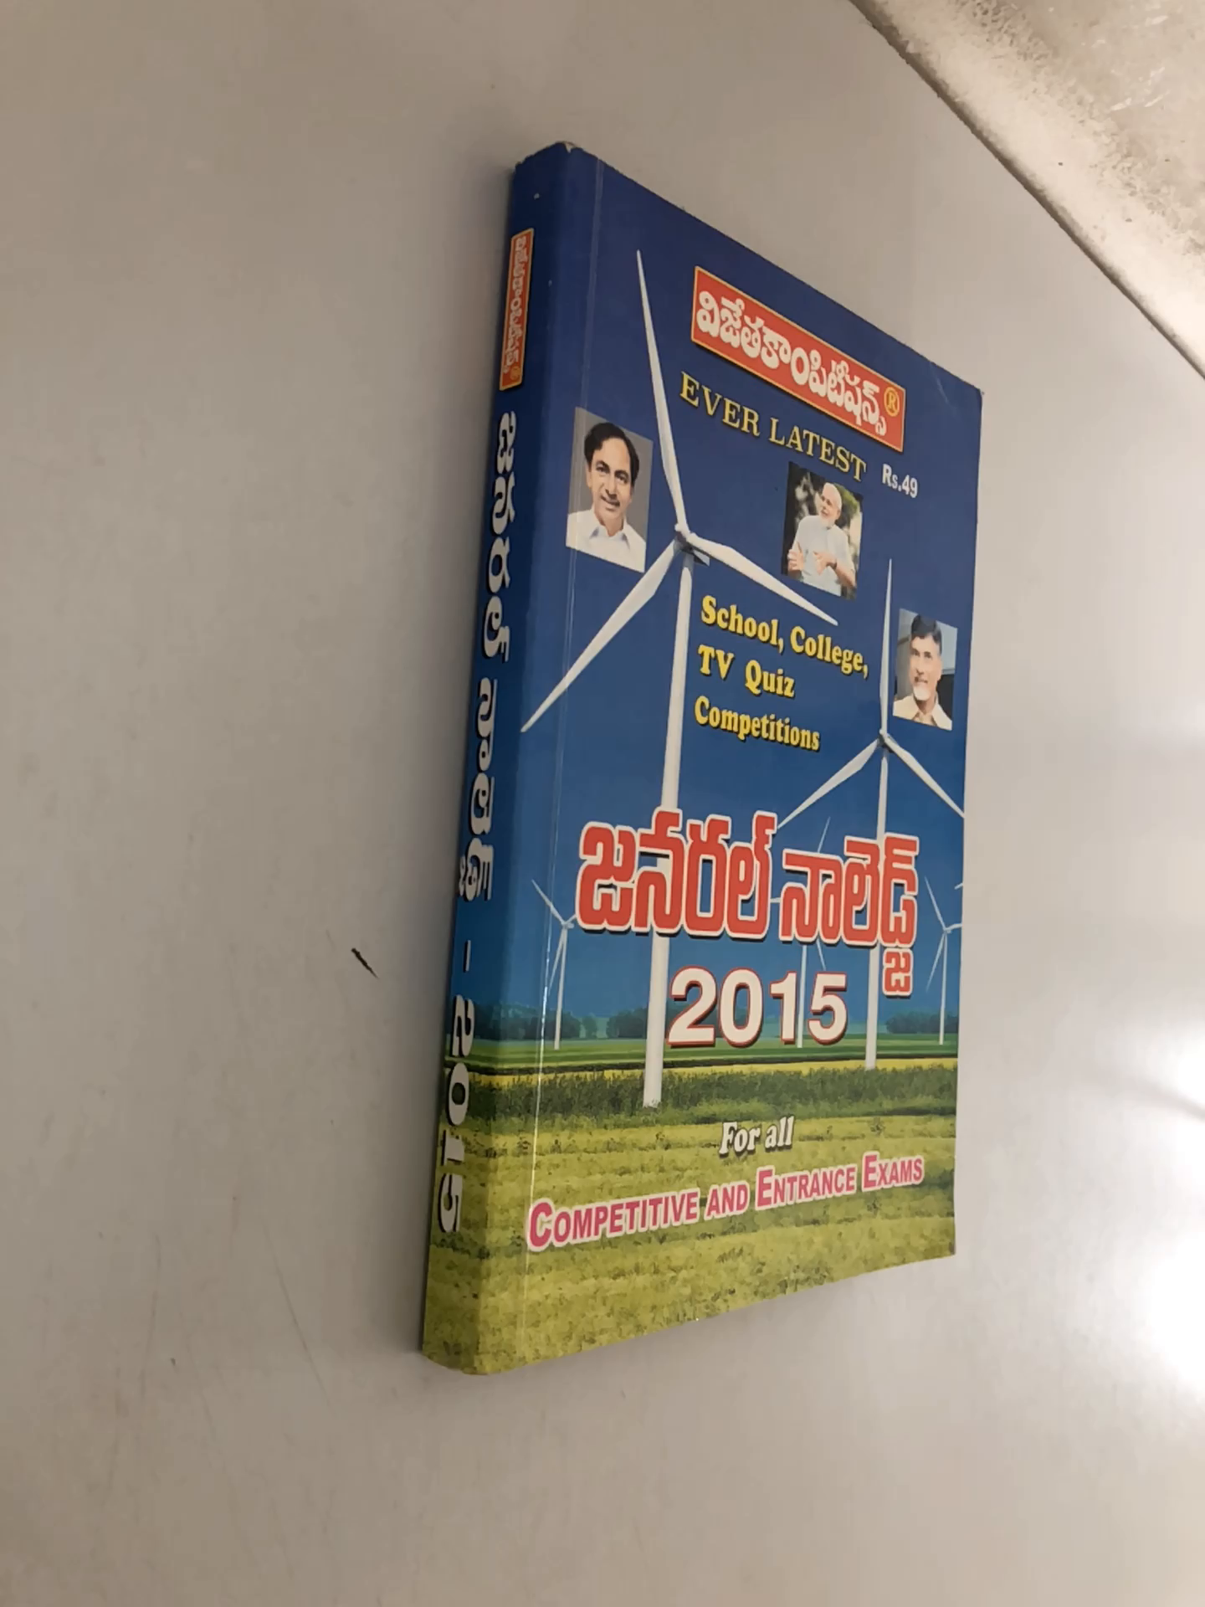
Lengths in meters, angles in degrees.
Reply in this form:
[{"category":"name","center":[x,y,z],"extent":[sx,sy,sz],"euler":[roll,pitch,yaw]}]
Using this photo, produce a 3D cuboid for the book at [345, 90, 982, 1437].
[{"category":"book","center":[0.022,-0.003,0.234],"extent":[0.130,0.022,0.182],"euler":[8,83,-45]}]
